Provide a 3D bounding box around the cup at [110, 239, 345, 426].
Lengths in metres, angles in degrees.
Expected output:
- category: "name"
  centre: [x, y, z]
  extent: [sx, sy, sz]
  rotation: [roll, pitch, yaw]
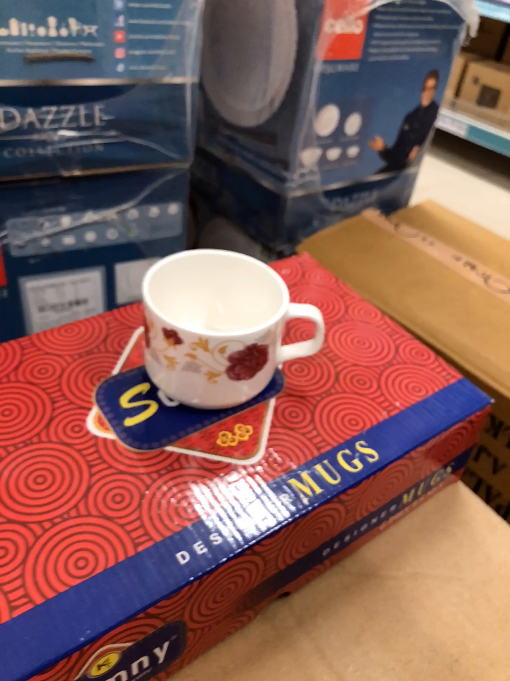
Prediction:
- category: "cup"
  centre: [-0.015, -0.006, 0.290]
  extent: [0.100, 0.050, 0.081]
  rotation: [4, 37, -6]
